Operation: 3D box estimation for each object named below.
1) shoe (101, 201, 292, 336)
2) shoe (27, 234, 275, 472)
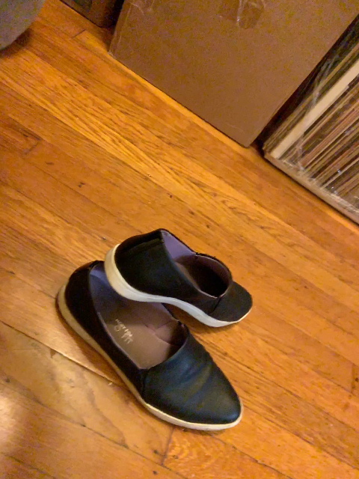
[{"bbox_3d":[0.033,0.052,0.454,0.250,0.080,0.100,20,50,-47],"label":"shoe"},{"bbox_3d":[-0.030,0.128,0.418,0.260,0.080,0.100,41,49,-1],"label":"shoe"}]
